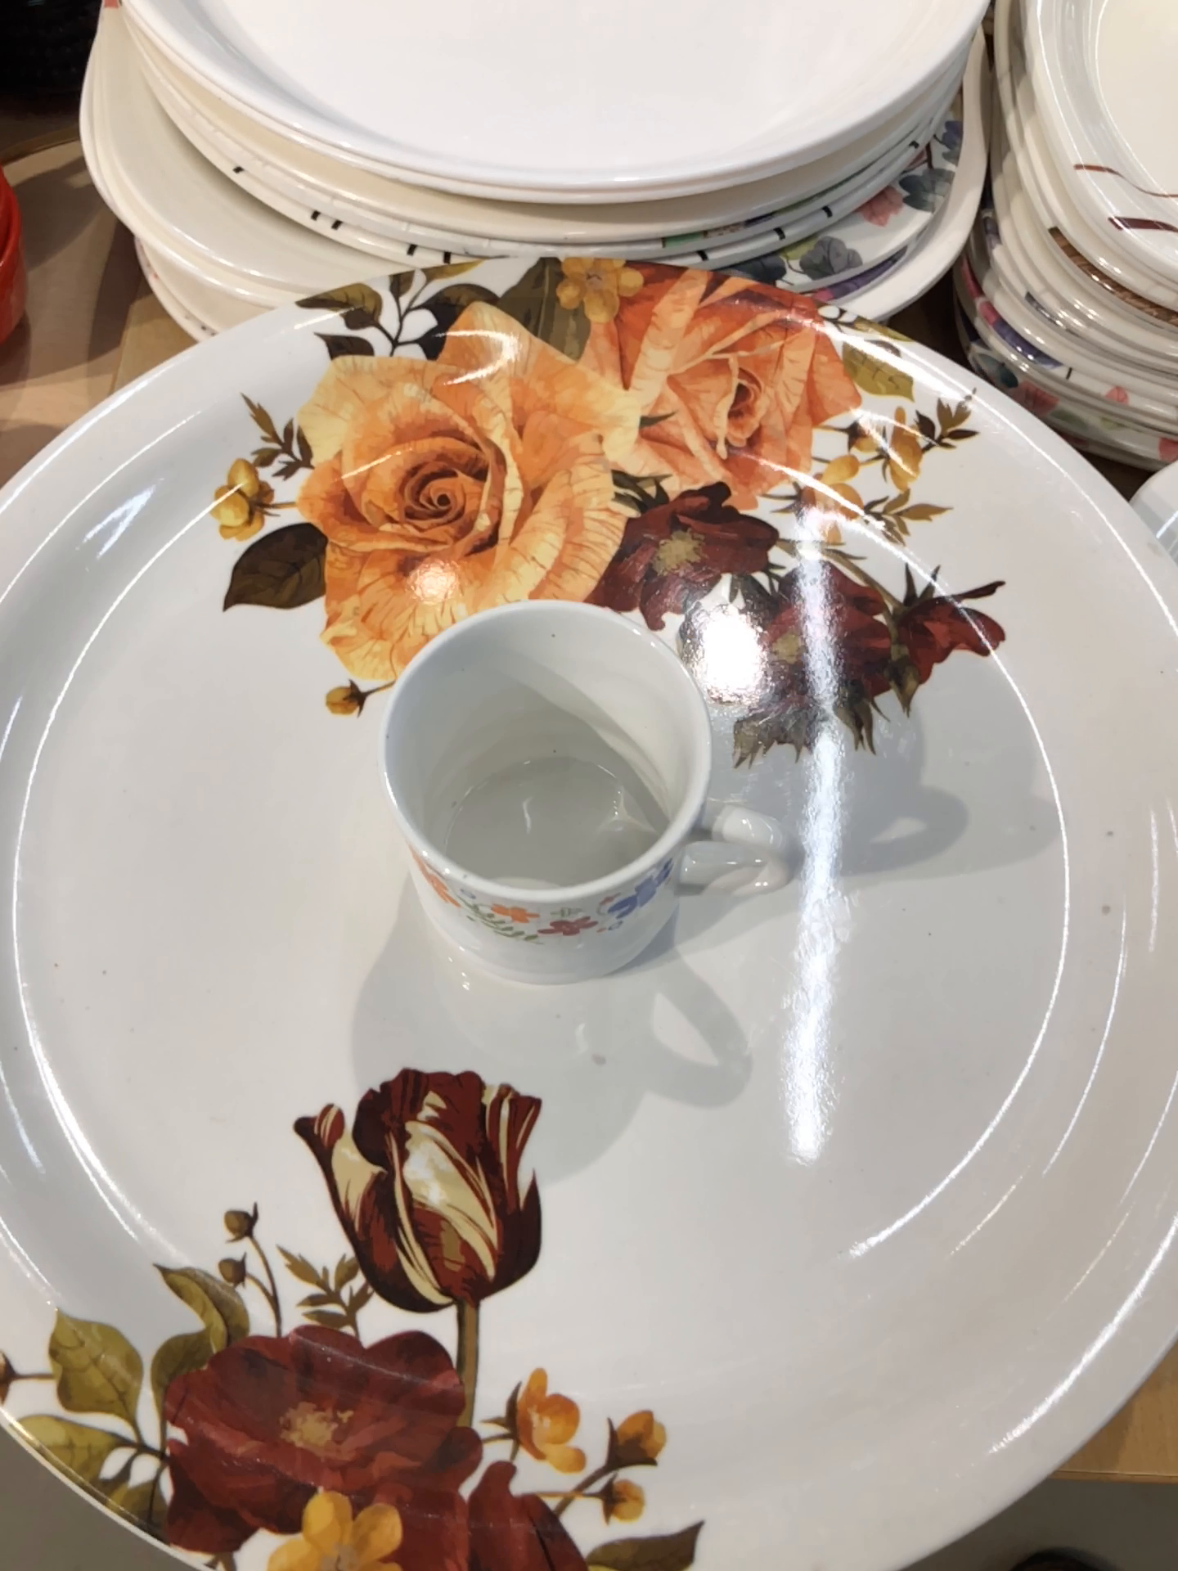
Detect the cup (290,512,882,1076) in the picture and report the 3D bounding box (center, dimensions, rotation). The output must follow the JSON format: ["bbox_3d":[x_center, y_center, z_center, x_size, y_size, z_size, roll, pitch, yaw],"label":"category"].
[{"bbox_3d":[0.000,0.005,0.273,0.090,0.070,0.070,20,67,7],"label":"cup"}]
